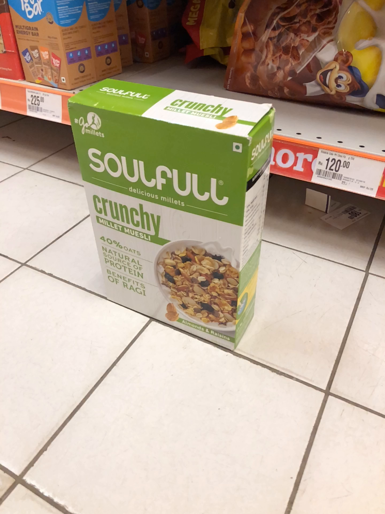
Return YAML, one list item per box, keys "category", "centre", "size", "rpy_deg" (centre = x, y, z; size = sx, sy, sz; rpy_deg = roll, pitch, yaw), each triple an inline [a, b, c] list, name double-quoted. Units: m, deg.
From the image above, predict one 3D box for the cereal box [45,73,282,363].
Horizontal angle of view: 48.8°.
- category: "cereal box"
  centre: [-0.026, -0.031, 0.406]
  size: [0.180, 0.238, 0.060]
  rpy_deg: [18, 41, 22]
